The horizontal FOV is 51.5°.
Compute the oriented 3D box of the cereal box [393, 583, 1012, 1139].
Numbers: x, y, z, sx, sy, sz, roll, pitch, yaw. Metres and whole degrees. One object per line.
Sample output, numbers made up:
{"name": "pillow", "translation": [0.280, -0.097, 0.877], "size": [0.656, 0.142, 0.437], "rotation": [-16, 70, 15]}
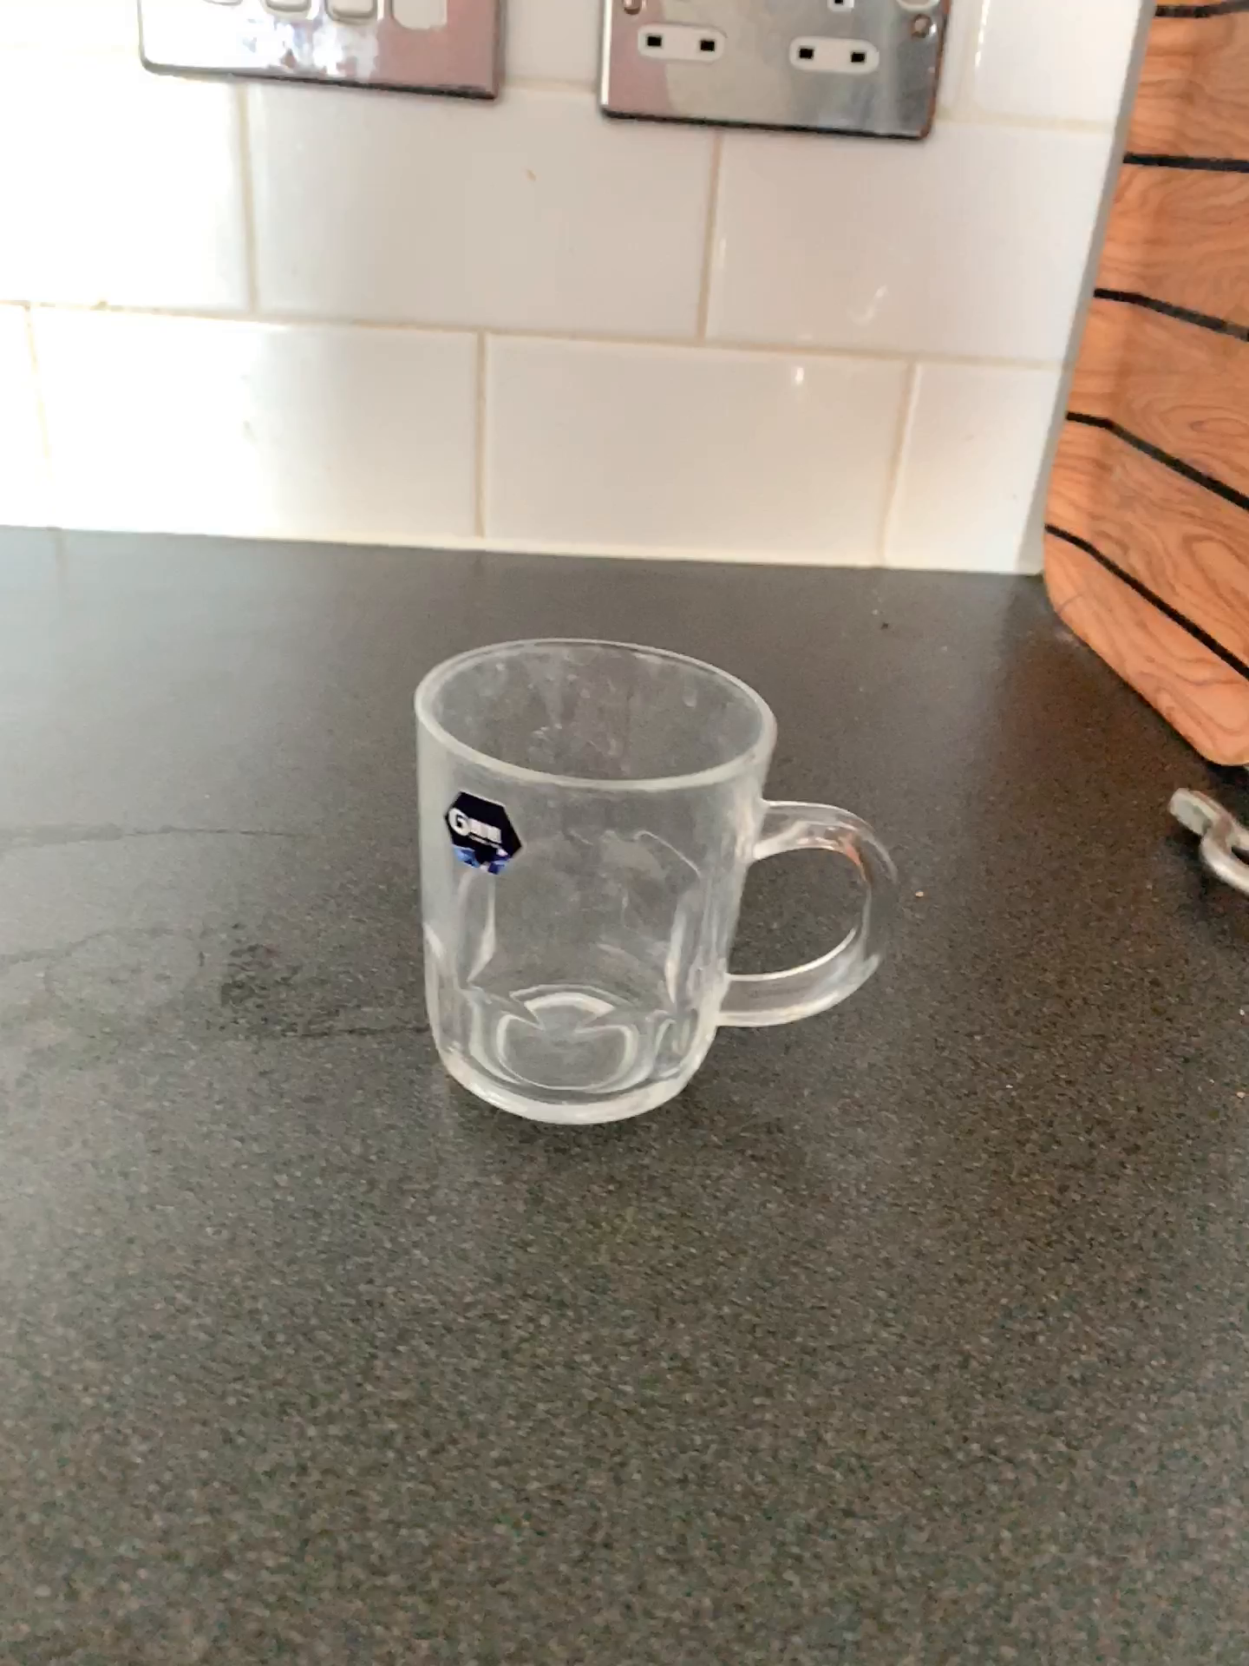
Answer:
{"name": "cereal box", "translation": [0.008, 0.004, 0.283], "size": [0.110, 0.089, 0.081], "rotation": [1, 29, -7]}
